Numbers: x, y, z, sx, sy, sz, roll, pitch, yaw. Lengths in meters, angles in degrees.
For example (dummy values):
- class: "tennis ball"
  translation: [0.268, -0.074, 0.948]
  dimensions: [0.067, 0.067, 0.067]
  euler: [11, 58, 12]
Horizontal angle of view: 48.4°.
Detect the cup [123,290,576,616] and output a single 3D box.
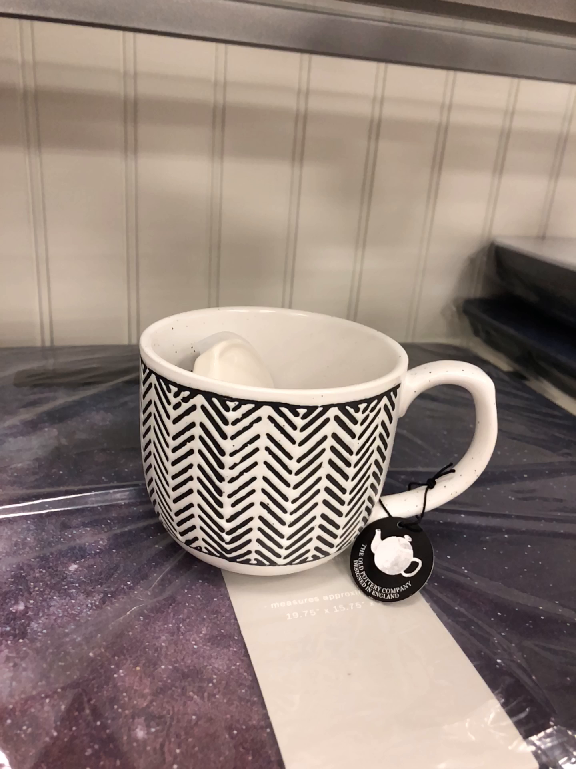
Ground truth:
- class: "cup"
  translation: [0.019, 0.020, 0.251]
  dimensions: [0.140, 0.079, 0.091]
  euler: [5, 23, 1]
